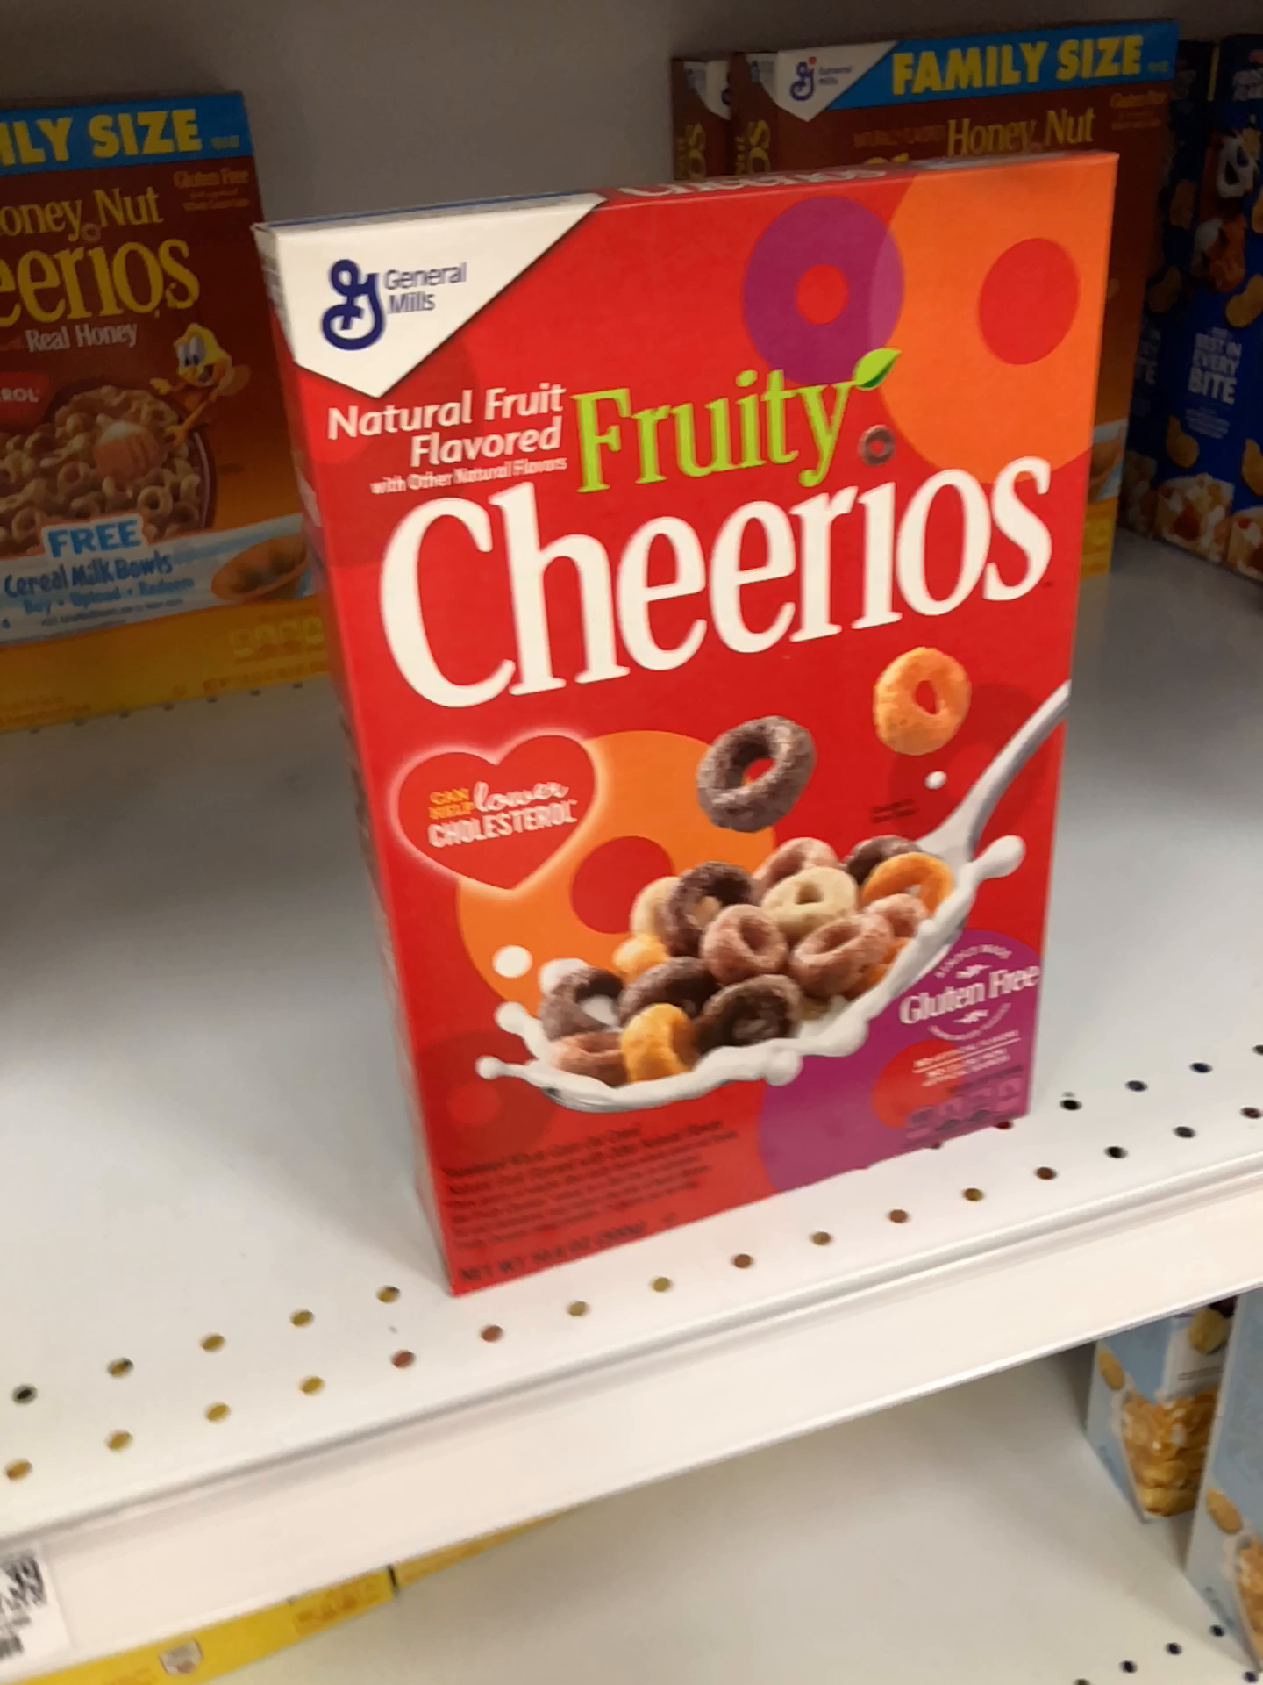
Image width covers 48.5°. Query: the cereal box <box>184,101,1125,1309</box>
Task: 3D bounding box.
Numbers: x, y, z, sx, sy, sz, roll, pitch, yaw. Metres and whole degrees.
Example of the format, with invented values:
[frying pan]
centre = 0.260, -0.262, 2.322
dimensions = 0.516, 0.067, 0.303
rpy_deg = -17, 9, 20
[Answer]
[cereal box]
centre = 0.016, -0.029, 0.380
dimensions = 0.200, 0.289, 0.060
rpy_deg = -13, 30, -15
